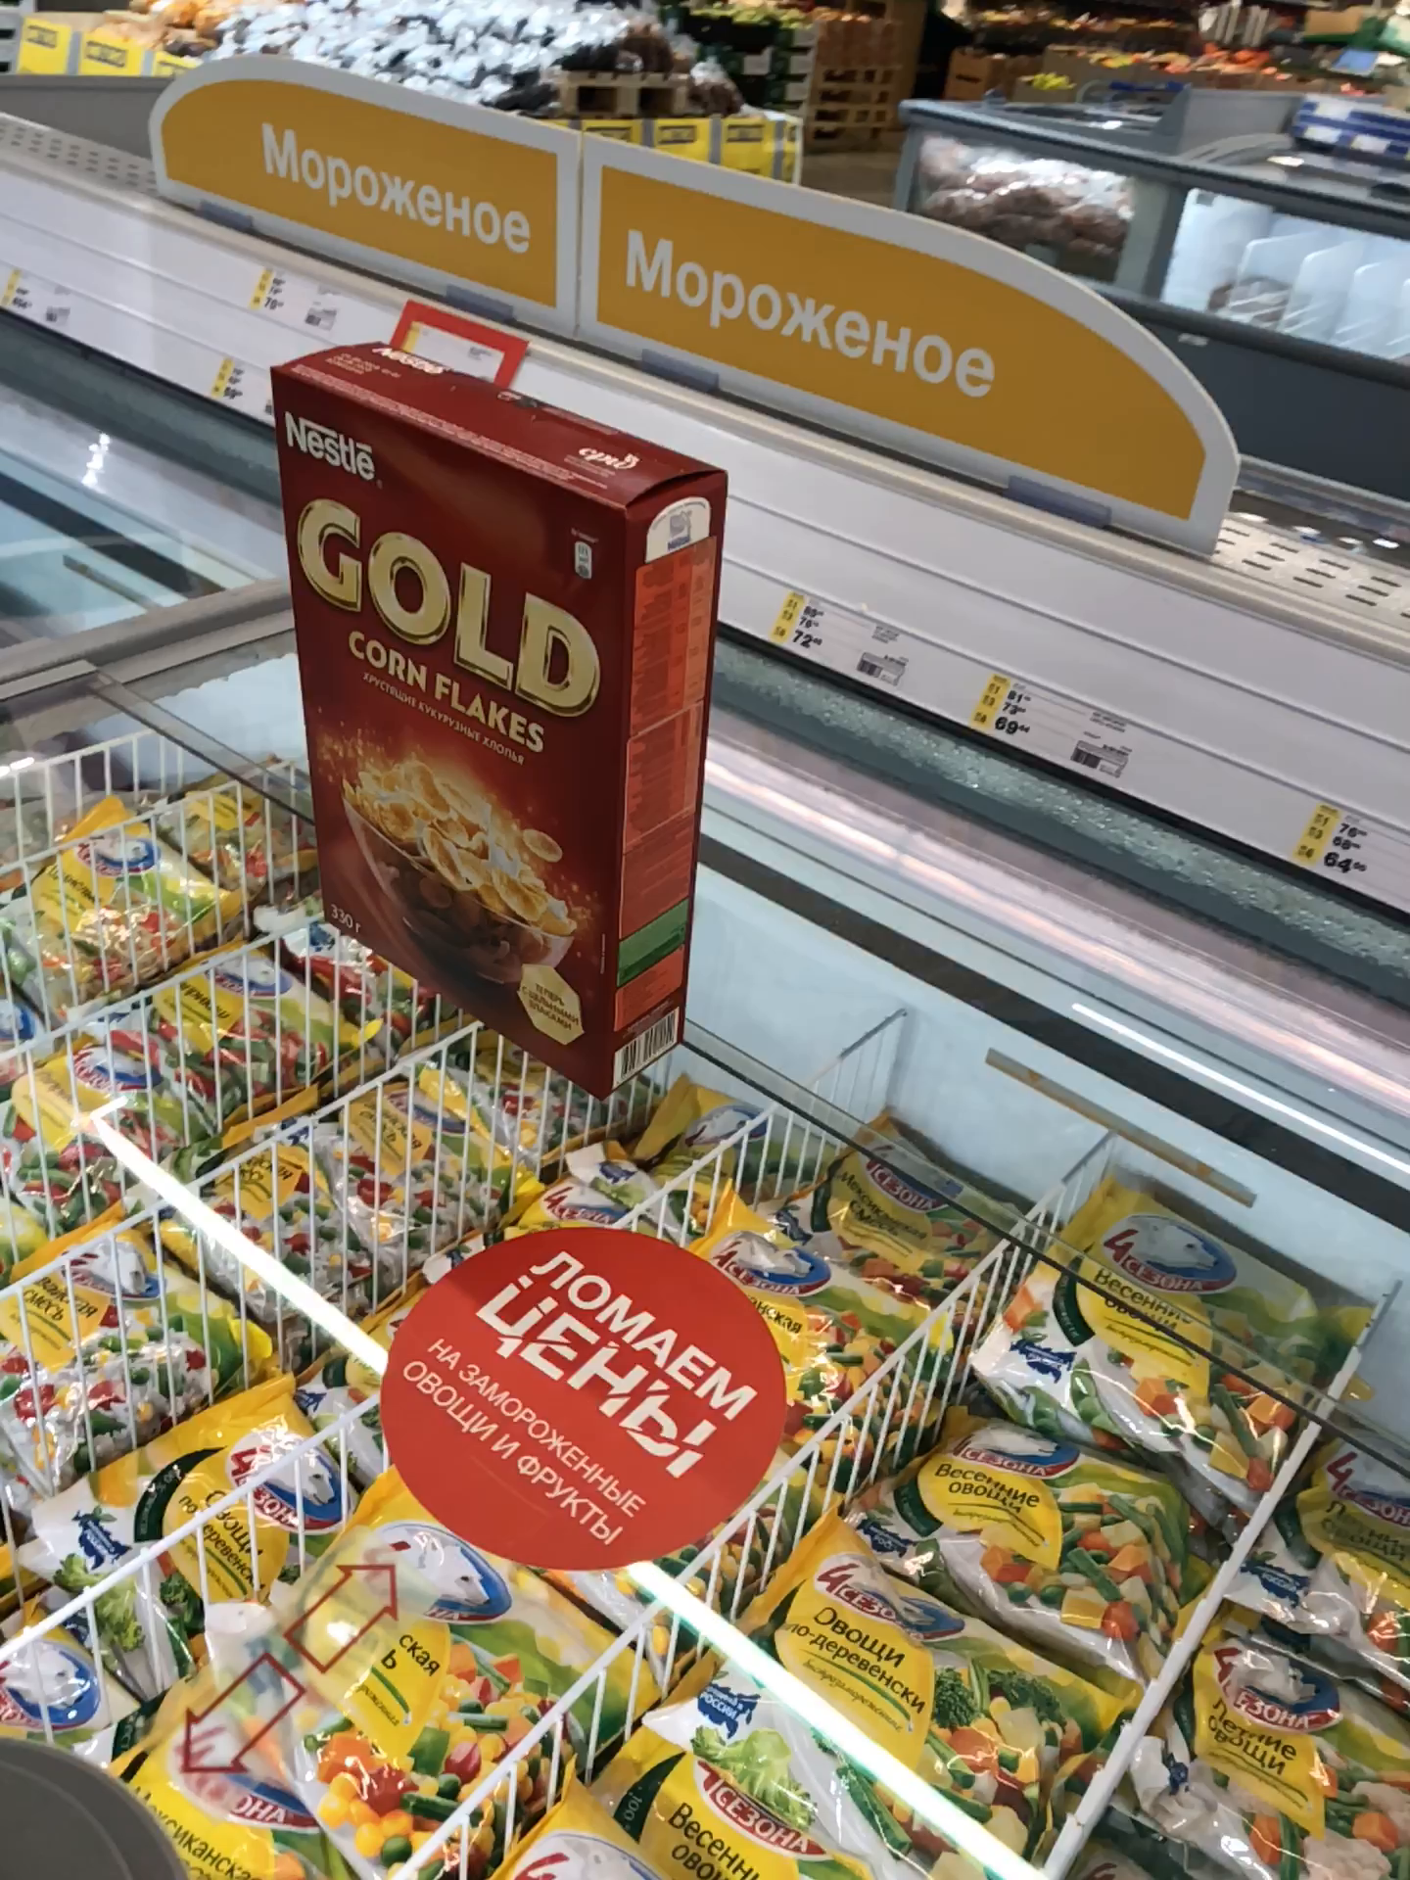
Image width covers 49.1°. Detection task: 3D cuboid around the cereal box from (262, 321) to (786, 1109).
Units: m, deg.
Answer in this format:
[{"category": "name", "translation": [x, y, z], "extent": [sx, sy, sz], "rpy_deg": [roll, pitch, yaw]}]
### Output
[{"category": "cereal box", "translation": [-0.080, -0.091, 0.638], "extent": [0.210, 0.258, 0.060], "rpy_deg": [30, 44, 30]}]
